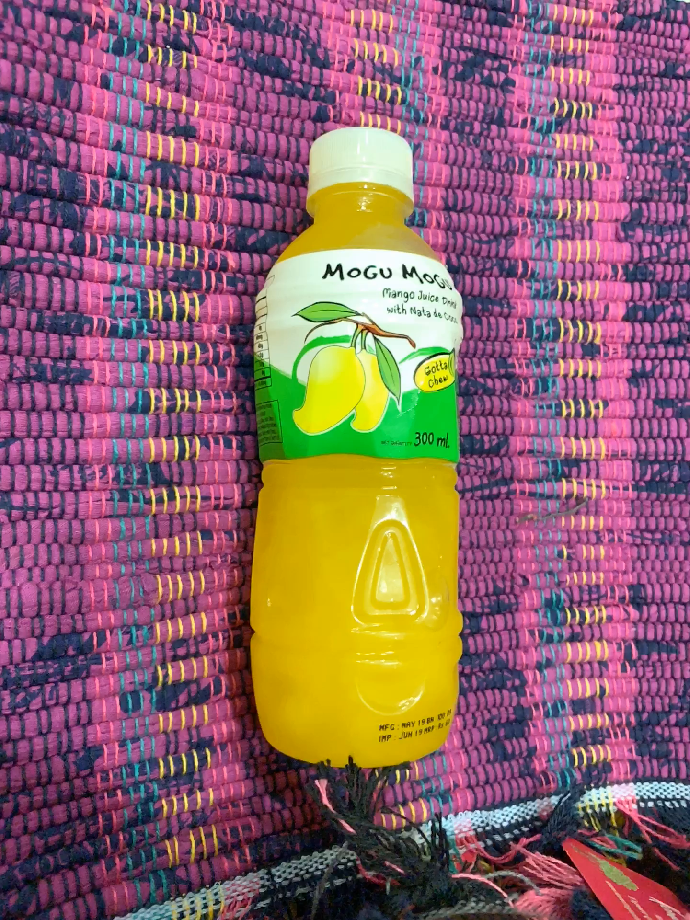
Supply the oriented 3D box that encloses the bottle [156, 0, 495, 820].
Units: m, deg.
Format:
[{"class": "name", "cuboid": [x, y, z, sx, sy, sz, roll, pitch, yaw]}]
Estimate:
[{"class": "bottle", "cuboid": [-0.008, -0.012, 0.176, 0.060, 0.060, 0.160, 1, 87, -30]}]
